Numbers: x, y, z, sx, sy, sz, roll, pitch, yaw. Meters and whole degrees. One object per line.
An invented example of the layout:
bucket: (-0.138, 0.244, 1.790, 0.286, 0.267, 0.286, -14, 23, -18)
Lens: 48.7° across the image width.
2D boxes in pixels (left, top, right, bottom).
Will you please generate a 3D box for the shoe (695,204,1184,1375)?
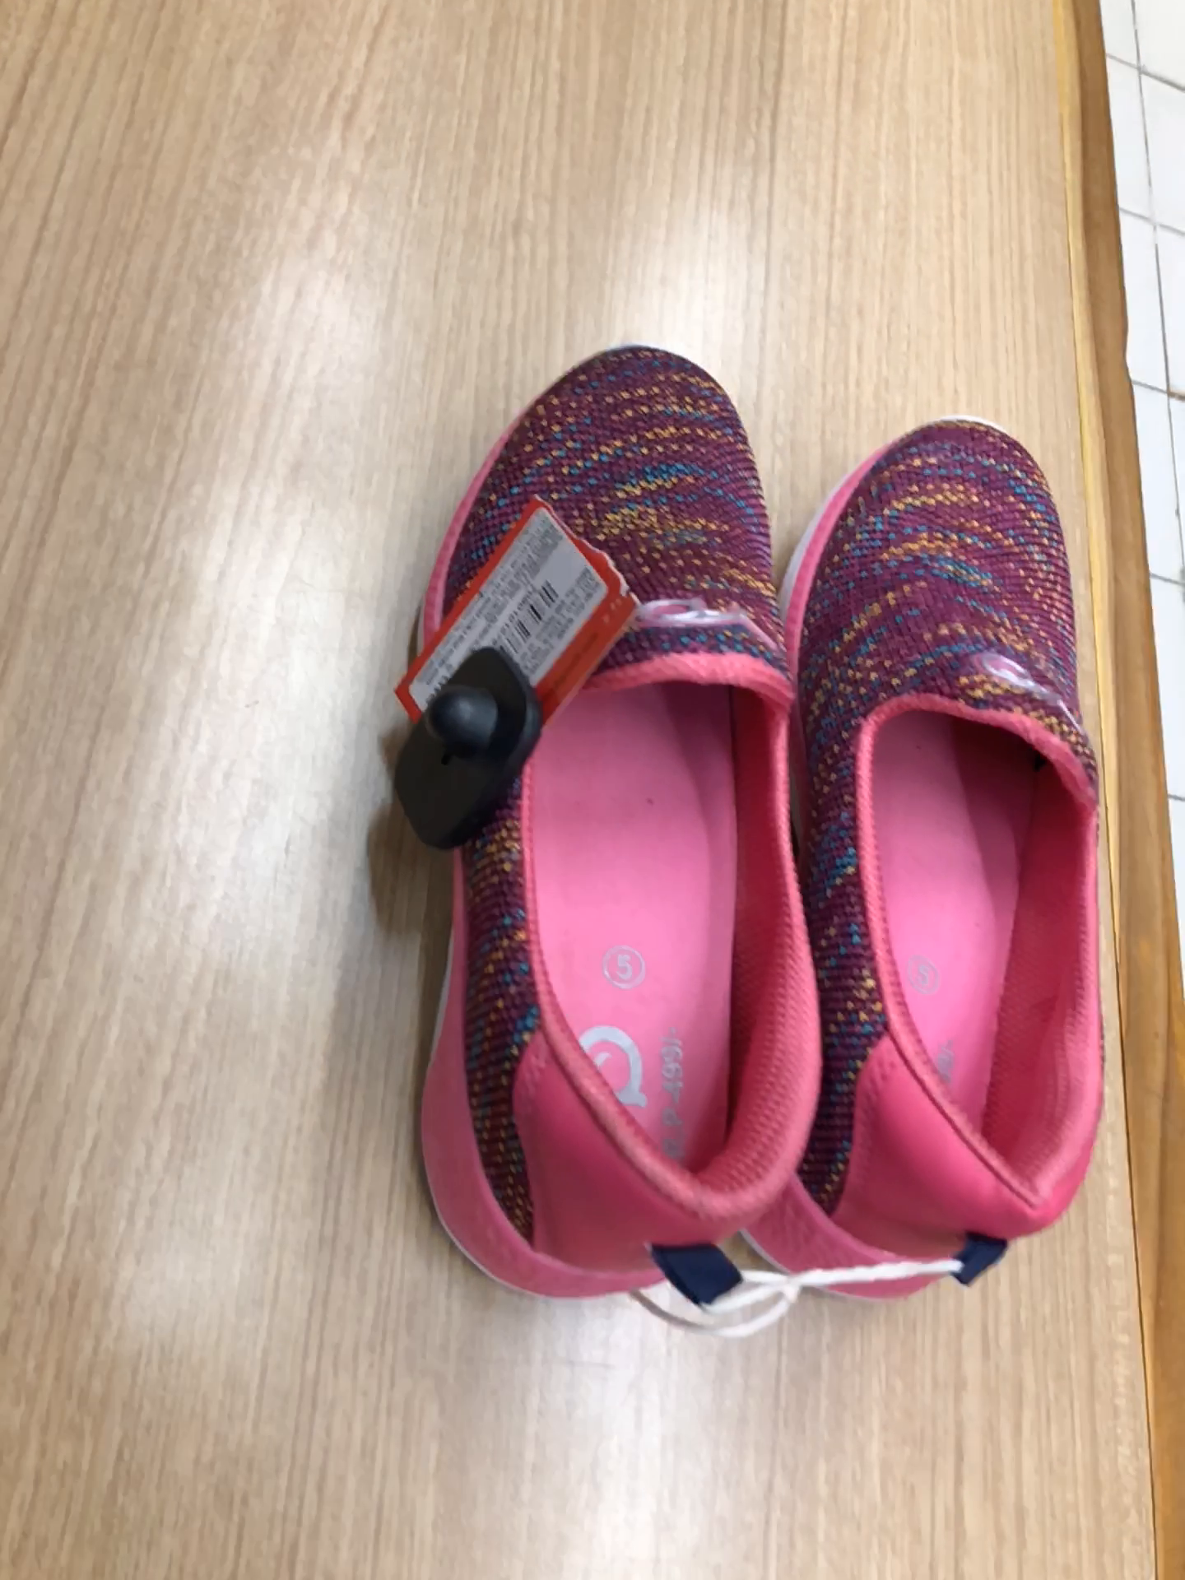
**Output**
shoe: (0.106, 0.001, 0.324, 0.105, 0.103, 0.245, 14, 67, -14)

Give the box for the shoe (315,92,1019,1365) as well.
shoe: (0.010, -0.009, 0.293, 0.105, 0.103, 0.244, 8, 69, -17)
